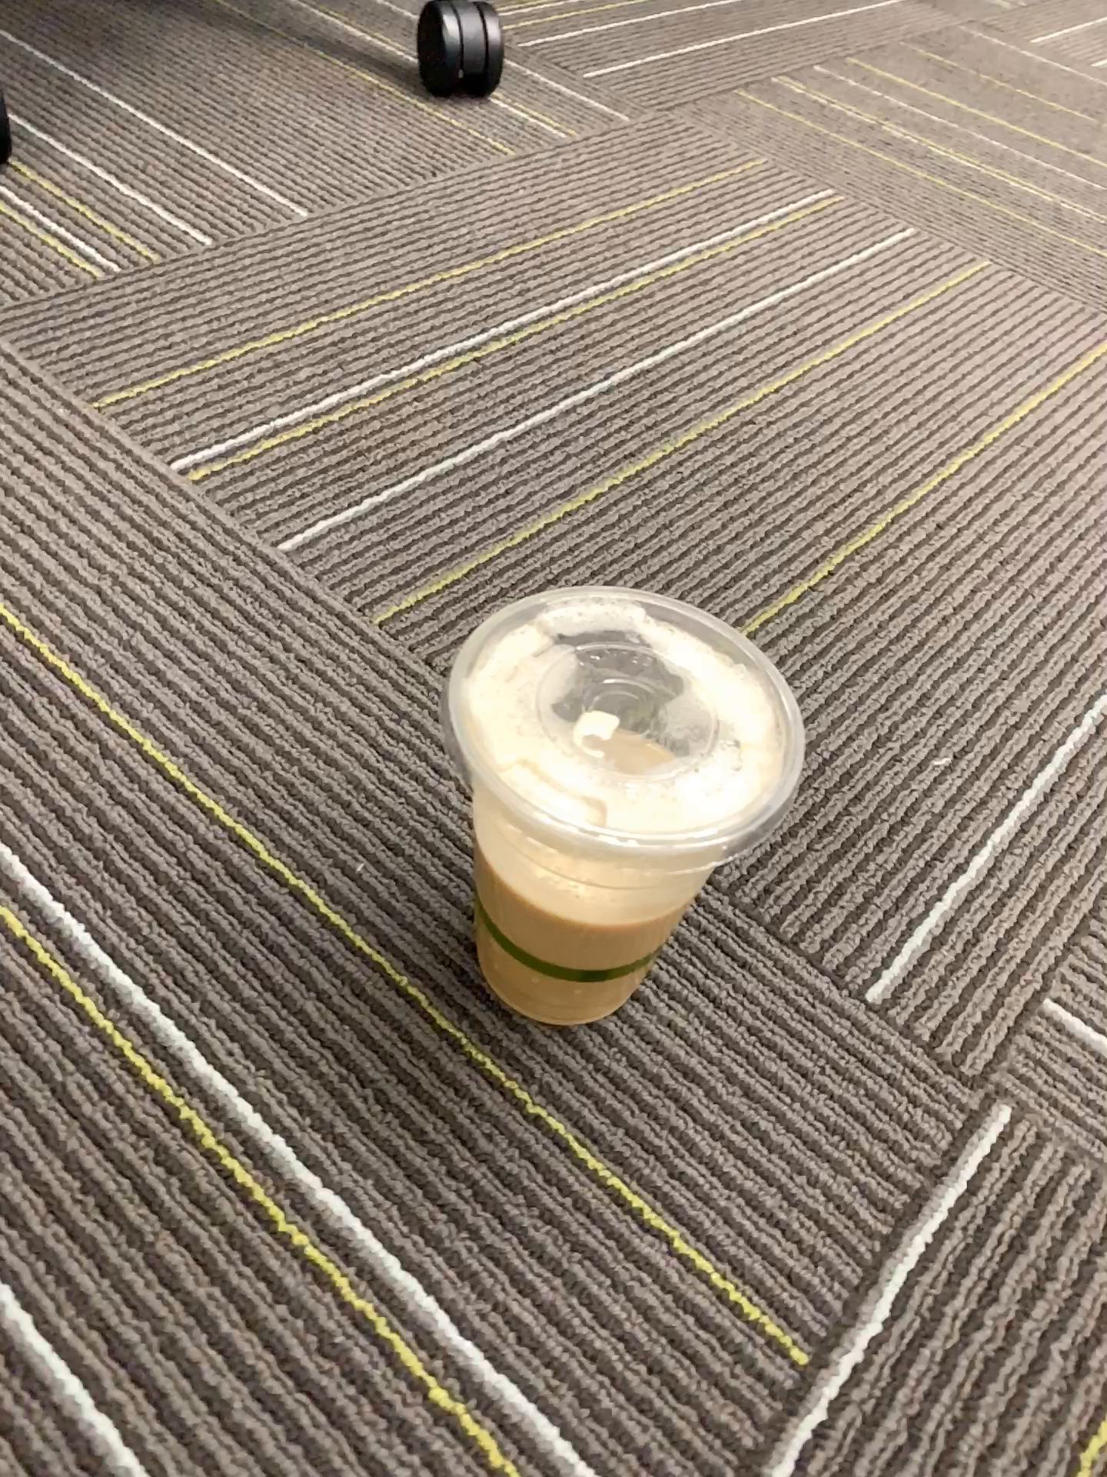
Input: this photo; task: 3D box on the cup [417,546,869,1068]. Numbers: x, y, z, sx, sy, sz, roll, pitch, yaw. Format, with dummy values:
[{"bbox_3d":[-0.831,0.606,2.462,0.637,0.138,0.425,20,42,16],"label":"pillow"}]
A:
[{"bbox_3d":[0.016,0.023,0.334,0.100,0.109,0.101,5,47,-6],"label":"cup"}]
